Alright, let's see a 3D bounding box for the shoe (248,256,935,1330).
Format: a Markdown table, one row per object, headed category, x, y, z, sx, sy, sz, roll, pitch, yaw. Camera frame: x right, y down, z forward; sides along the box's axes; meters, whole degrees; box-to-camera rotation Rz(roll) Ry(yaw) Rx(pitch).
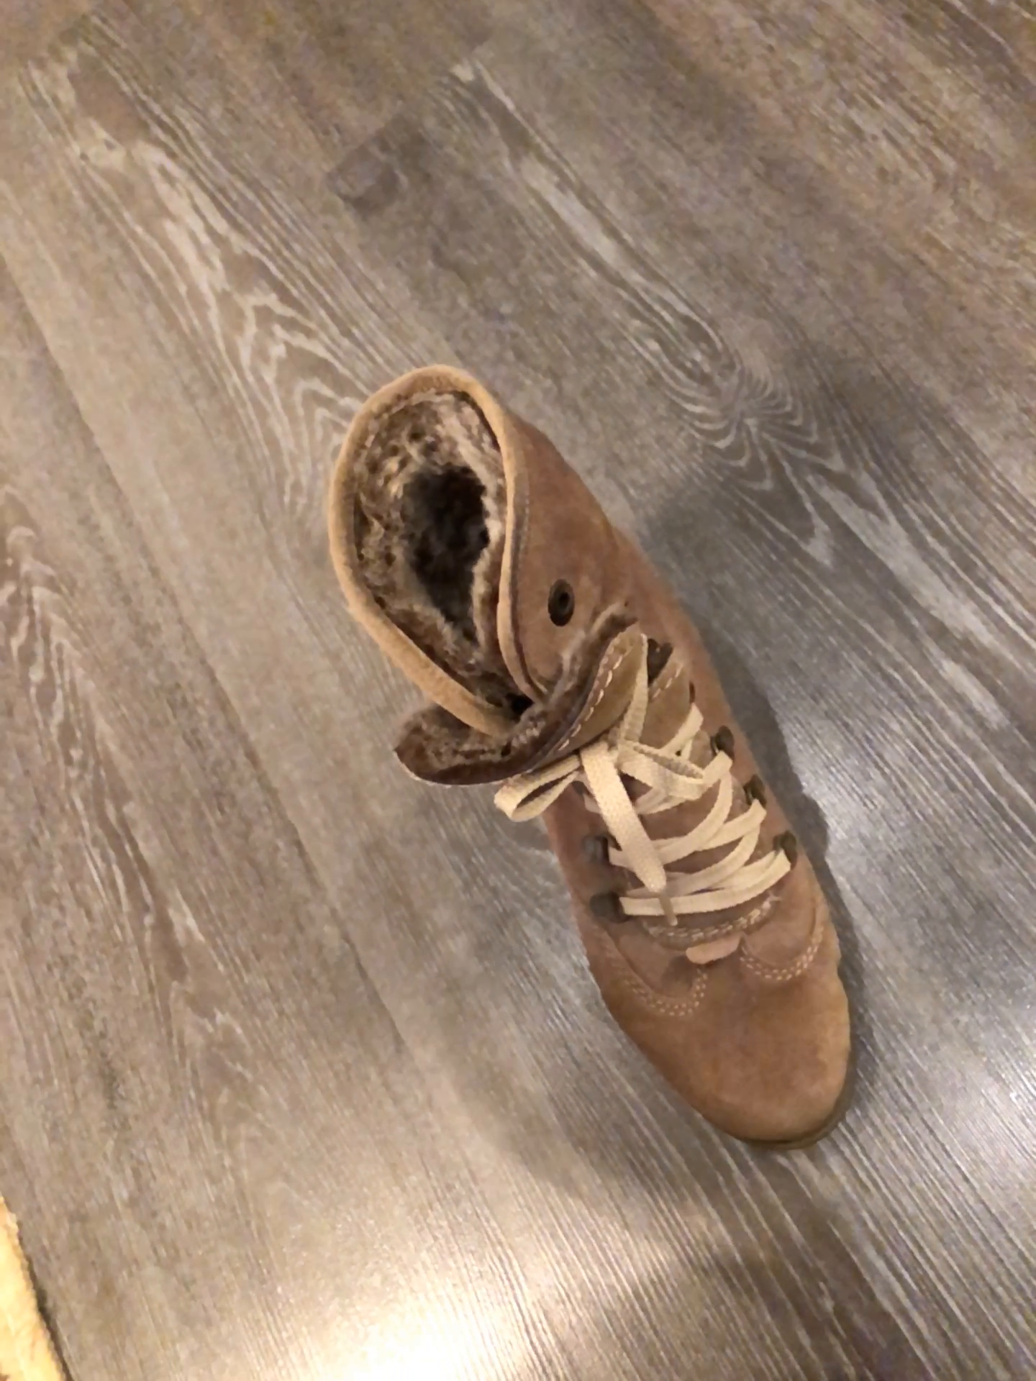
| category | x | y | z | sx | sy | sz | roll | pitch | yaw |
| --- | --- | --- | --- | --- | --- | --- | --- | --- | --- |
| shoe | 0.031 | 0.035 | 0.358 | 0.100 | 0.189 | 0.241 | -22 | 67 | 14 |
